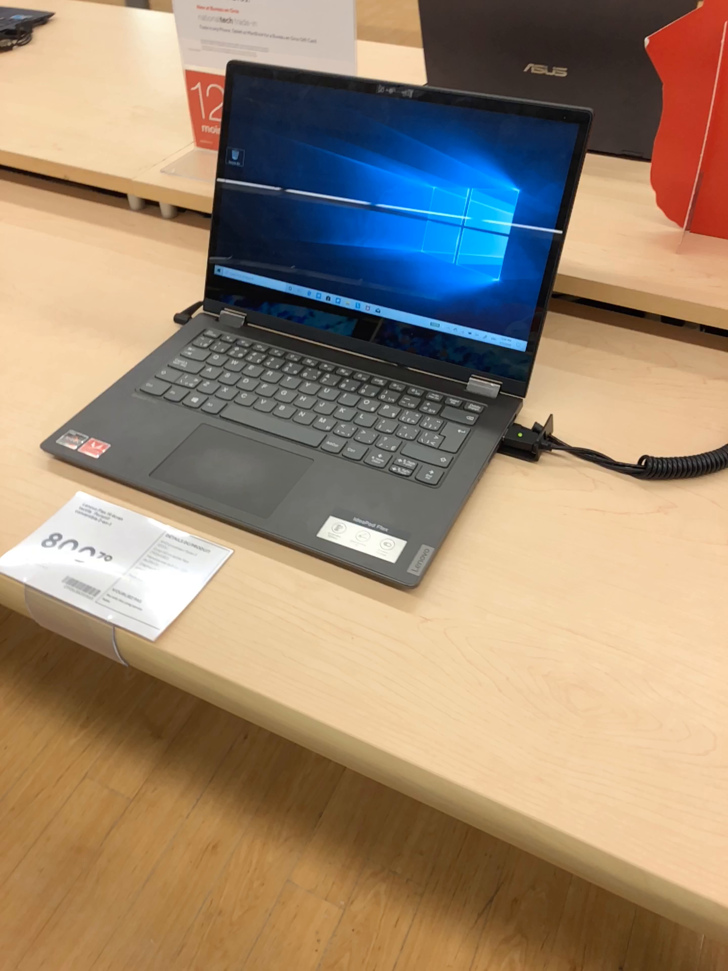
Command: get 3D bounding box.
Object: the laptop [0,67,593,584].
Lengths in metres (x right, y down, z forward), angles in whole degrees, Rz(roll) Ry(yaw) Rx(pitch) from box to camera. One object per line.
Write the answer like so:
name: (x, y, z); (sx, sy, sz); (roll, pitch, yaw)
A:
laptop: (-0.043, -0.149, 0.611); (0.319, 0.198, 0.307); (19, 47, 20)
